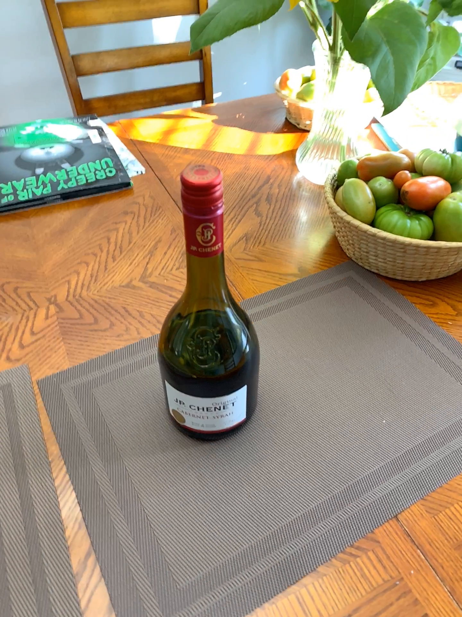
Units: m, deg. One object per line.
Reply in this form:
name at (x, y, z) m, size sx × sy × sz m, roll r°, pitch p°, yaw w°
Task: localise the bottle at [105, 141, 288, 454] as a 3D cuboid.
bottle at (-0.020, 0.005, 0.413) m, size 0.100 × 0.258 × 0.101 m, roll 0°, pitch 44°, yaw 0°
